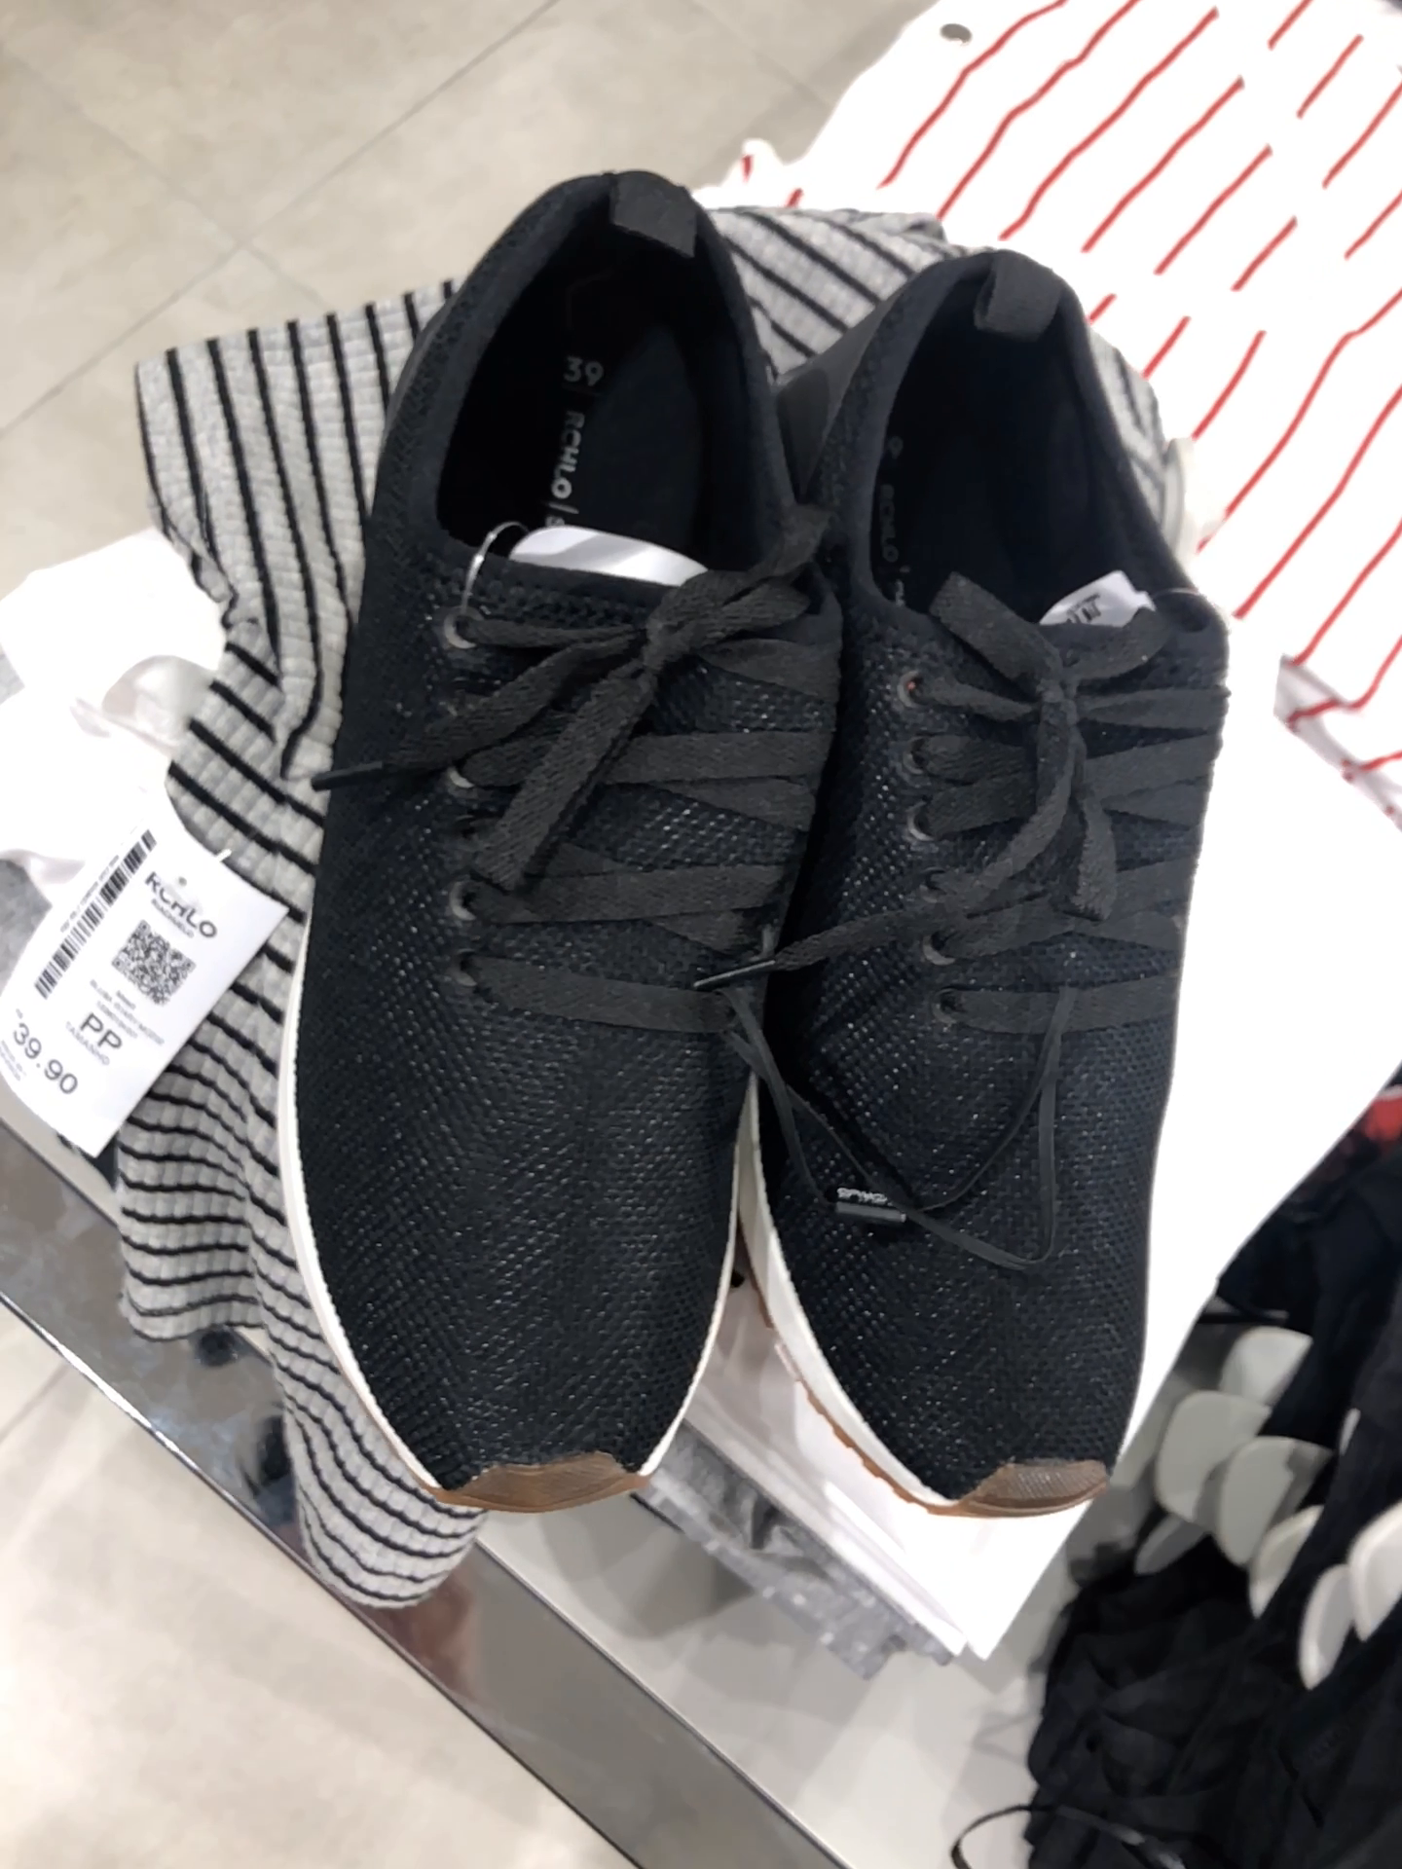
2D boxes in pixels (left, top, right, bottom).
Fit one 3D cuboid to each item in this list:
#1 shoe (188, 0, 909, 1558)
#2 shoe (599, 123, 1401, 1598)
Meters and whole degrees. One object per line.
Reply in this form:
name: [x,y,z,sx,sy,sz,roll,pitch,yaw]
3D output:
shoe: [-0.028,-0.025,0.307,0.100,0.120,0.260,5,75,-12]
shoe: [0.048,-0.014,0.330,0.100,0.120,0.270,-1,69,-14]
